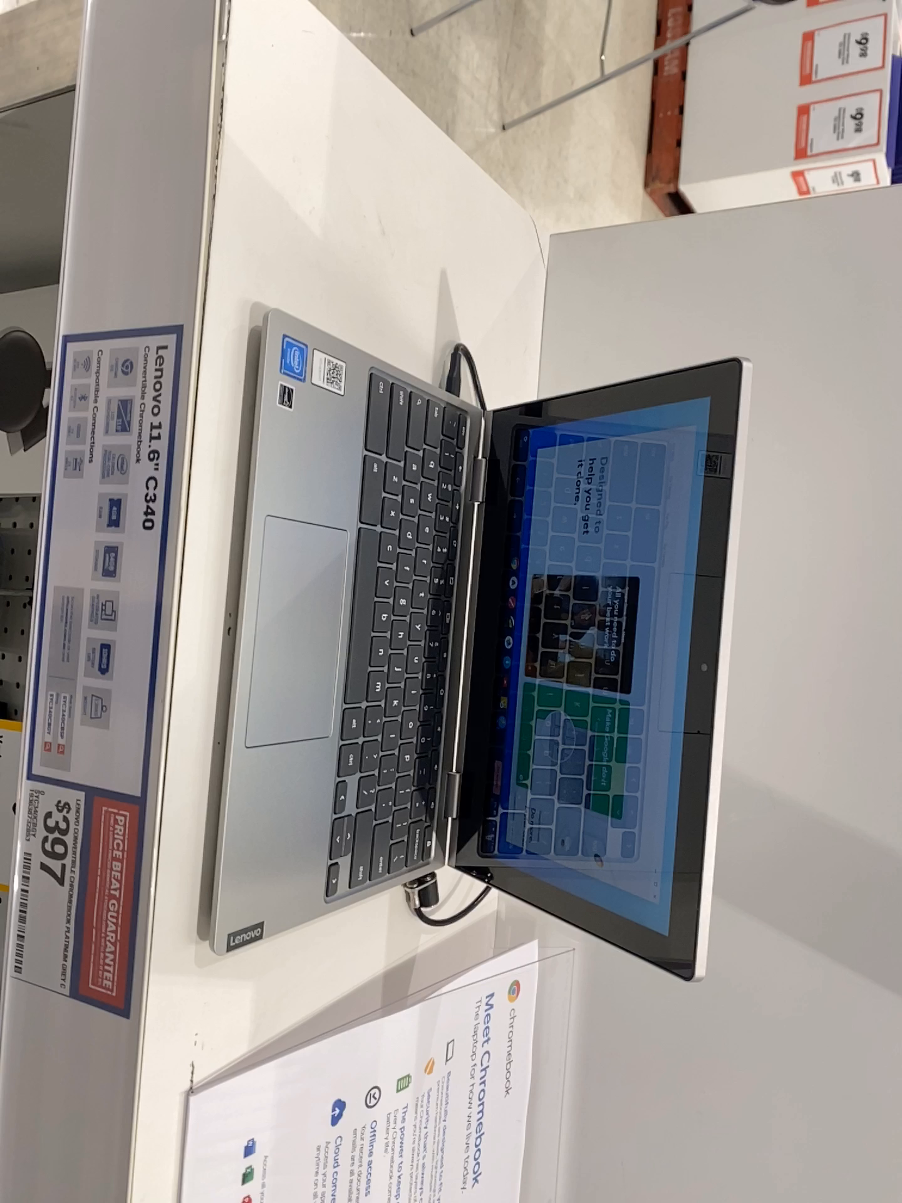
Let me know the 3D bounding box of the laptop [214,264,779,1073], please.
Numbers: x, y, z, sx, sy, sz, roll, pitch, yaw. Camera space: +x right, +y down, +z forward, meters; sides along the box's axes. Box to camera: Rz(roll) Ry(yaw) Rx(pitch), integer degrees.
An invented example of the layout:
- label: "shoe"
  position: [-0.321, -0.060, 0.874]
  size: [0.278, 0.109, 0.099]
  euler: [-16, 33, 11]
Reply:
- label: "laptop"
  position: [0.036, 0.022, 0.455]
  size: [0.202, 0.180, 0.283]
  euler: [7, 88, -59]
